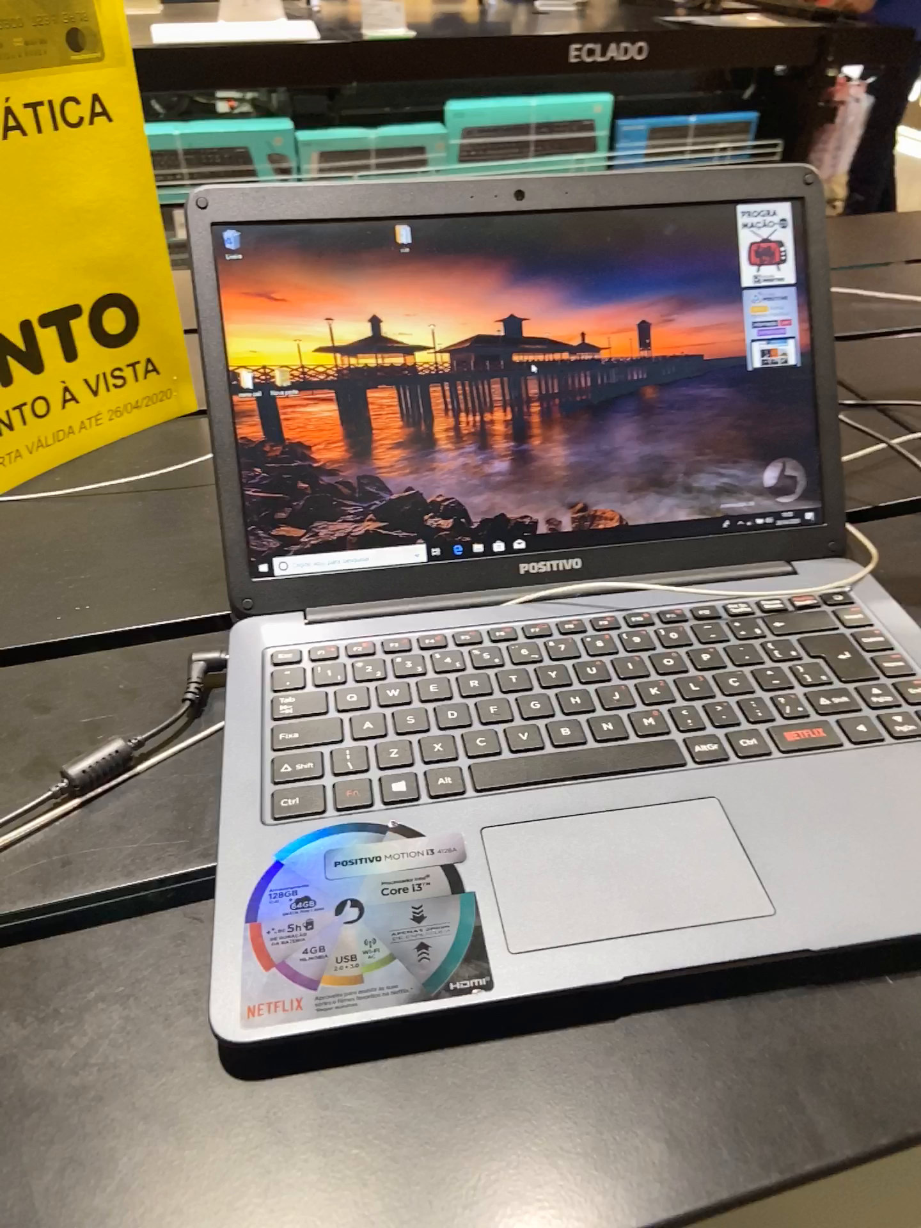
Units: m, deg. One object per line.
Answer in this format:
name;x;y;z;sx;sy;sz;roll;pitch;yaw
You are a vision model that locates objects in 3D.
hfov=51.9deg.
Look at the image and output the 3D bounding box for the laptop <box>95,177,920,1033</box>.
laptop;0.060;-0.053;0.408;0.332;0.172;0.343;-6;37;-8
